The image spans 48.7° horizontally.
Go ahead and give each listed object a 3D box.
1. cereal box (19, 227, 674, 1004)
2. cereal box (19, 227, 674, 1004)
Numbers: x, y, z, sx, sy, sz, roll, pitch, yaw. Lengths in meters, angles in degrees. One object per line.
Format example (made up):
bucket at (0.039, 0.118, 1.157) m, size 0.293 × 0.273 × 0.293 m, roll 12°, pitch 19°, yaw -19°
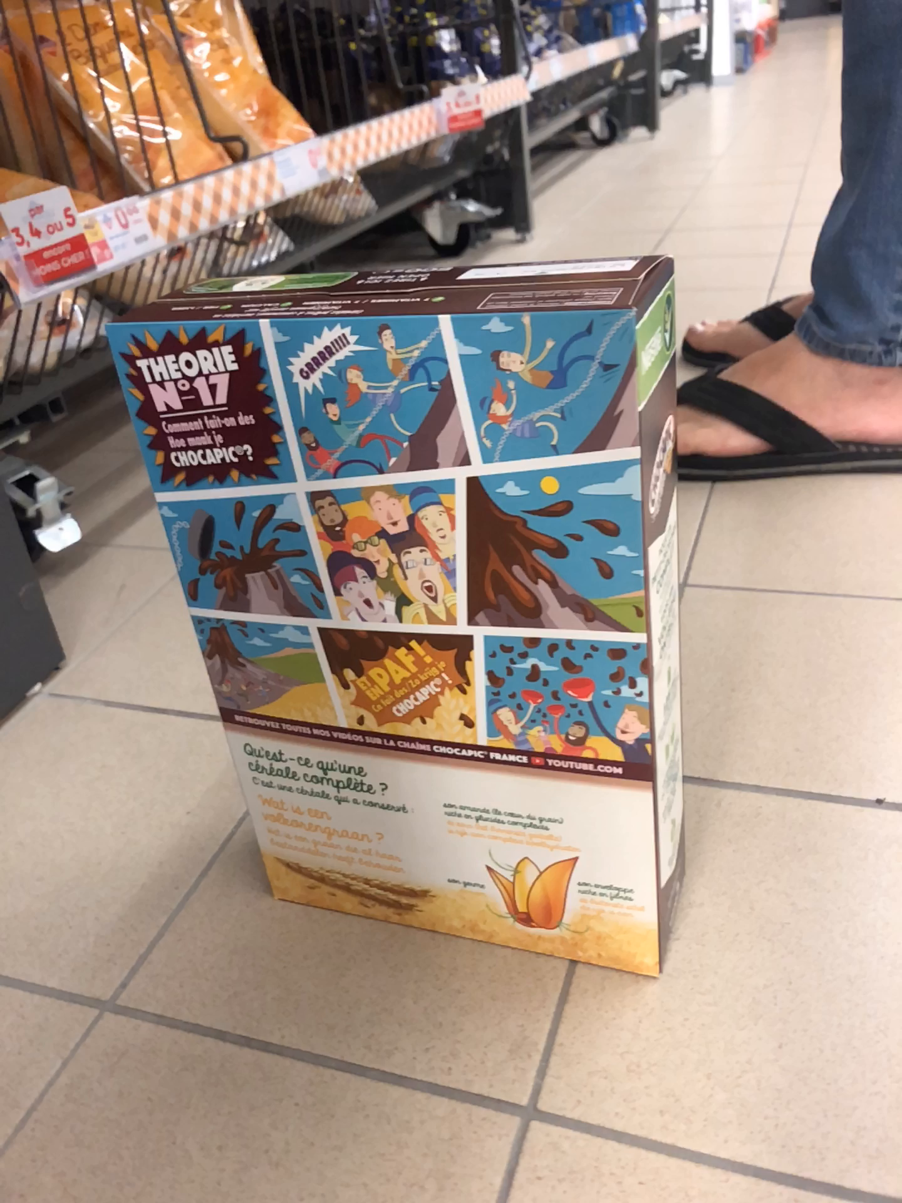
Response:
cereal box at (-0.021, 0.016, 0.400) m, size 0.200 × 0.288 × 0.070 m, roll 3°, pitch 31°, yaw 21°
cereal box at (-0.021, 0.016, 0.400) m, size 0.200 × 0.288 × 0.070 m, roll 3°, pitch 31°, yaw 21°
